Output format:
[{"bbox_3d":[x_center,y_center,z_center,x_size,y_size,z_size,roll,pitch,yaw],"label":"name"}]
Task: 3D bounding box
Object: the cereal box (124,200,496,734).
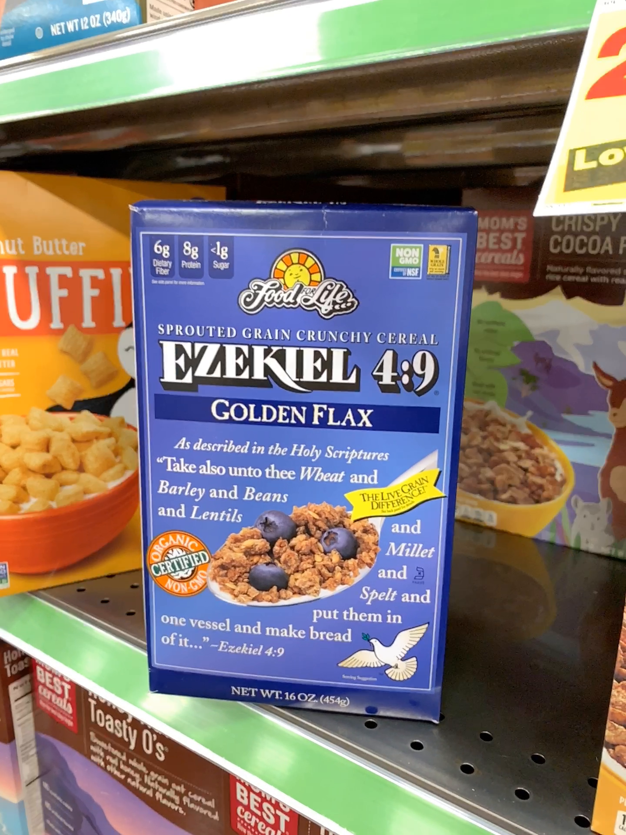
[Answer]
[{"bbox_3d":[-0.002,0.023,0.334,0.160,0.249,0.060,3,12,7],"label":"cereal box"}]
